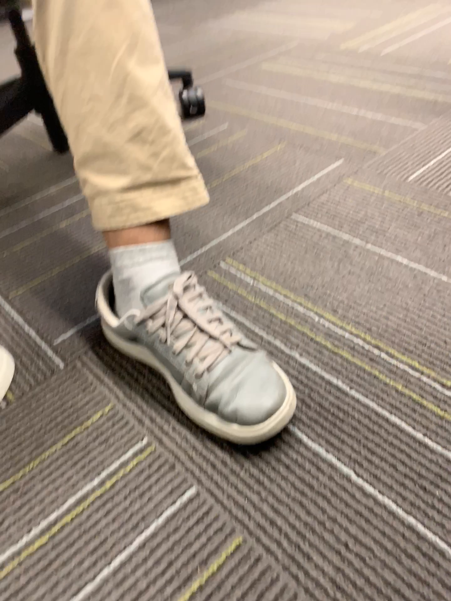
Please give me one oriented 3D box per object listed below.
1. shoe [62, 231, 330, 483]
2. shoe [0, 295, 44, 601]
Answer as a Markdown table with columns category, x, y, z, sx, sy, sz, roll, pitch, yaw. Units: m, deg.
| category | x | y | z | sx | sy | sz | roll | pitch | yaw |
| --- | --- | --- | --- | --- | --- | --- | --- | --- | --- |
| shoe | -0.039 | 0.042 | 0.511 | 0.281 | 0.109 | 0.120 | 30 | 54 | 36 |
| shoe | -0.295 | 0.141 | 0.436 | 0.120 | 0.139 | 0.271 | -5 | 42 | 5 |
